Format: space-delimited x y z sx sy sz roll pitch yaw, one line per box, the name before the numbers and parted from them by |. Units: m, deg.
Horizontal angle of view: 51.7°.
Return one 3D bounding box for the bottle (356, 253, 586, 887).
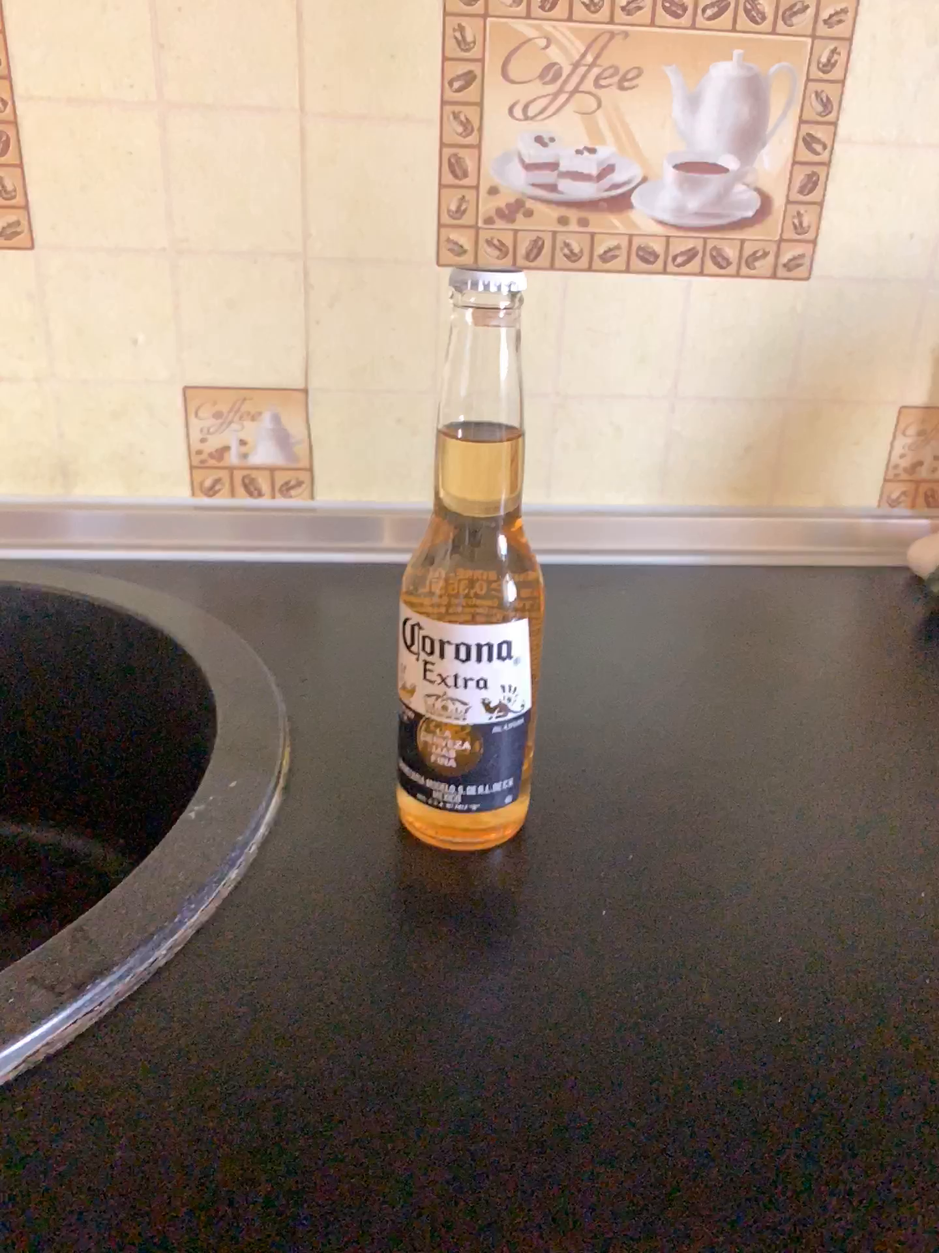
bottle | -0.002 -0.019 0.406 0.070 0.249 0.070 2 25 -1
